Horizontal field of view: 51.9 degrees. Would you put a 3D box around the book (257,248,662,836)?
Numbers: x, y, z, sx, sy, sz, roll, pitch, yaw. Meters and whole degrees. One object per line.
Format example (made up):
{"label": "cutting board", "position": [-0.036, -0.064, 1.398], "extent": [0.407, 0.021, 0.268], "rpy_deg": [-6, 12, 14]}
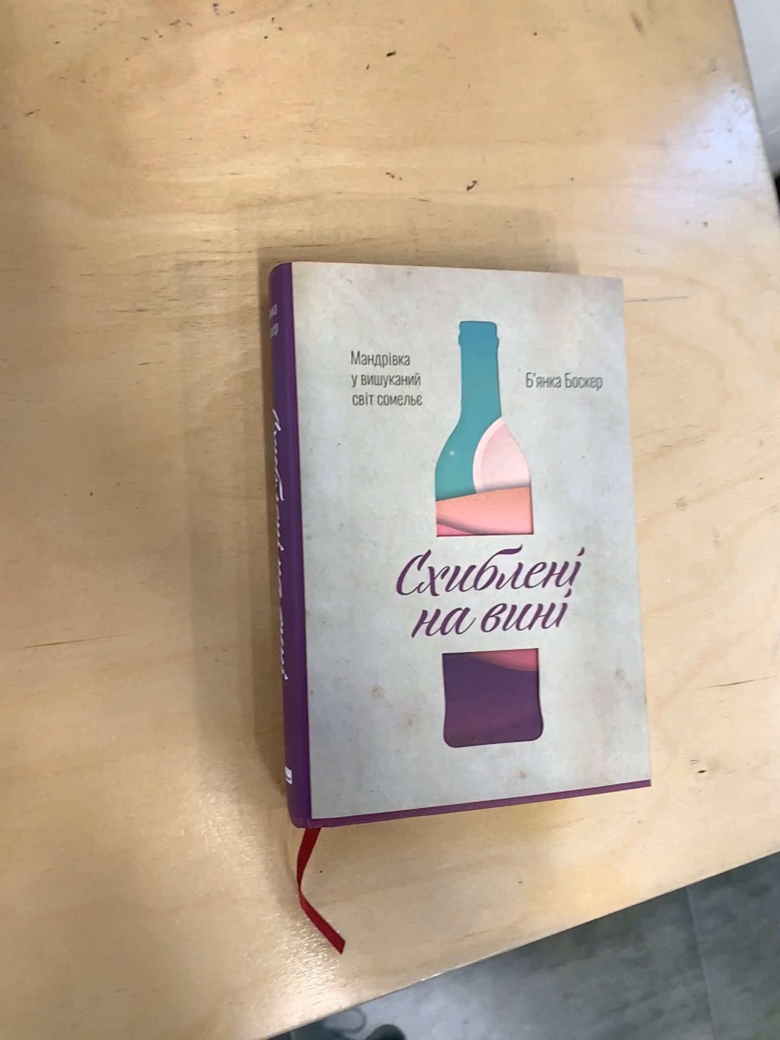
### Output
{"label": "book", "position": [0.026, 0.005, 0.334], "extent": [0.150, 0.050, 0.214], "rpy_deg": [-2, 86, -15]}
